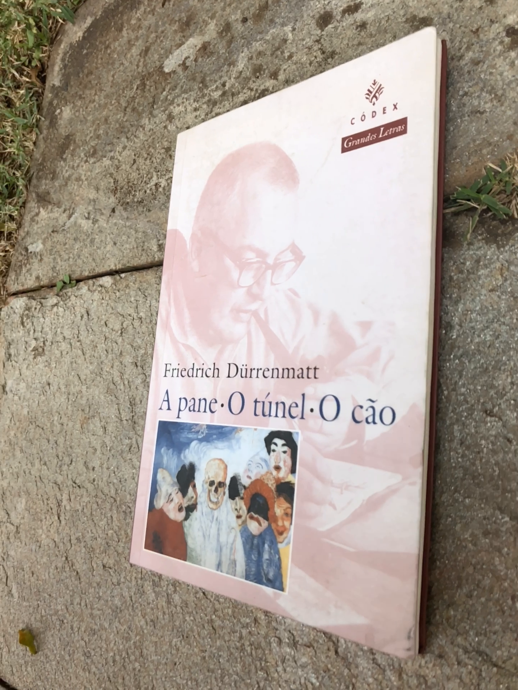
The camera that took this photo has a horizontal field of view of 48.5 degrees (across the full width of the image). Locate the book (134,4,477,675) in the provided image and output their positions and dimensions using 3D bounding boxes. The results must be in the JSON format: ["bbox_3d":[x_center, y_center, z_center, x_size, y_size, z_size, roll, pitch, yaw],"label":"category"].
[{"bbox_3d":[0.011,-0.006,0.230,0.138,0.020,0.210,-2,81,41],"label":"book"}]
